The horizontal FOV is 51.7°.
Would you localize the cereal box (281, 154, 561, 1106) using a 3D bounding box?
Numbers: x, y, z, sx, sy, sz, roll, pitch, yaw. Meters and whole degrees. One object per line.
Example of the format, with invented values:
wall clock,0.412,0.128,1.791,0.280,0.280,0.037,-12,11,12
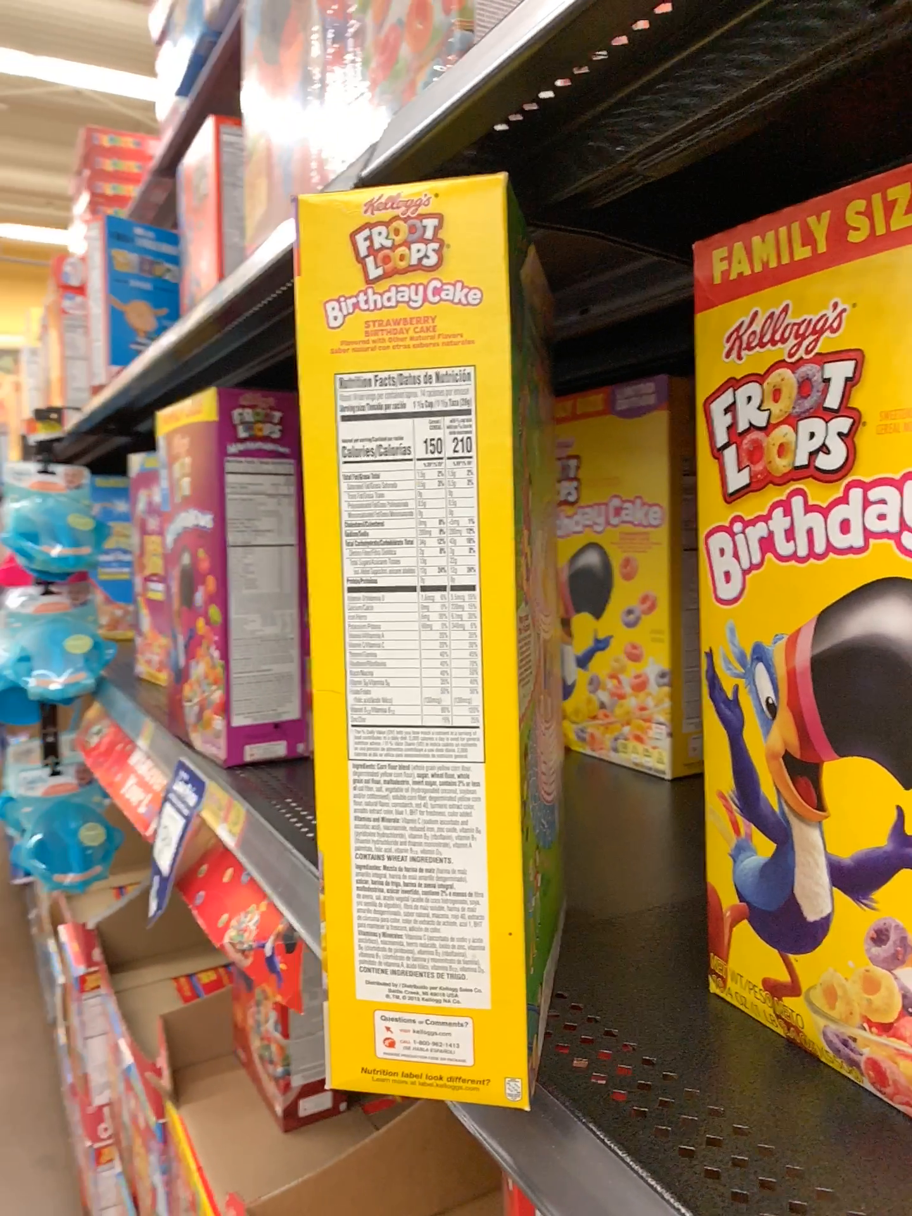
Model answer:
cereal box,0.000,0.004,0.430,0.080,0.330,0.200,0,5,11
